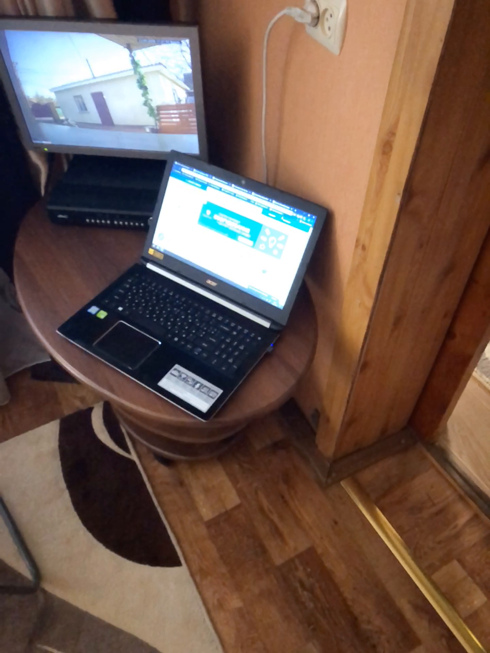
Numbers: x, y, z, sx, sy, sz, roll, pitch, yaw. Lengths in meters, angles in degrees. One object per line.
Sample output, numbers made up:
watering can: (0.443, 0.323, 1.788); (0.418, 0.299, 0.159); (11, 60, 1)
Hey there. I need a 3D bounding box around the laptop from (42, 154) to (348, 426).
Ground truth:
laptop: (-0.076, -0.095, 1.008); (0.372, 0.186, 0.391); (27, 54, 21)
